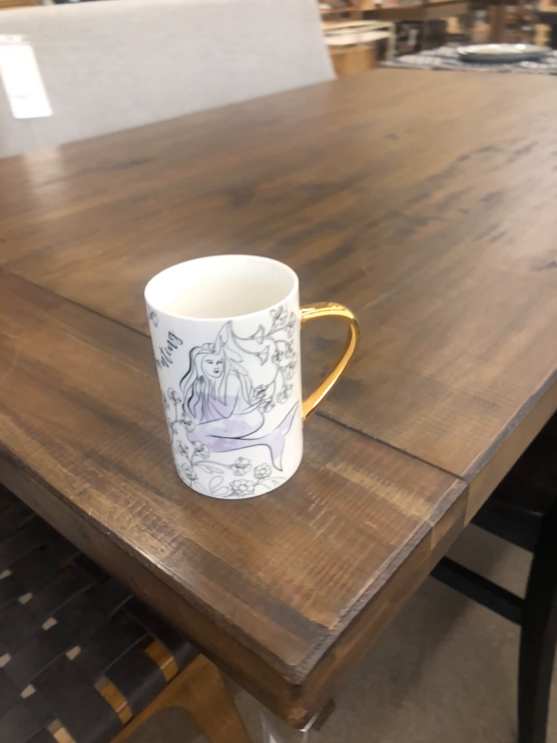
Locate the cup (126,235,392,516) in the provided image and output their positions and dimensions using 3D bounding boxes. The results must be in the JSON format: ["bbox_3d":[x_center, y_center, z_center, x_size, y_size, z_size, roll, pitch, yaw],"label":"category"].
[{"bbox_3d":[-0.012,-0.001,0.346,0.122,0.111,0.083,-10,32,-10],"label":"cup"}]
